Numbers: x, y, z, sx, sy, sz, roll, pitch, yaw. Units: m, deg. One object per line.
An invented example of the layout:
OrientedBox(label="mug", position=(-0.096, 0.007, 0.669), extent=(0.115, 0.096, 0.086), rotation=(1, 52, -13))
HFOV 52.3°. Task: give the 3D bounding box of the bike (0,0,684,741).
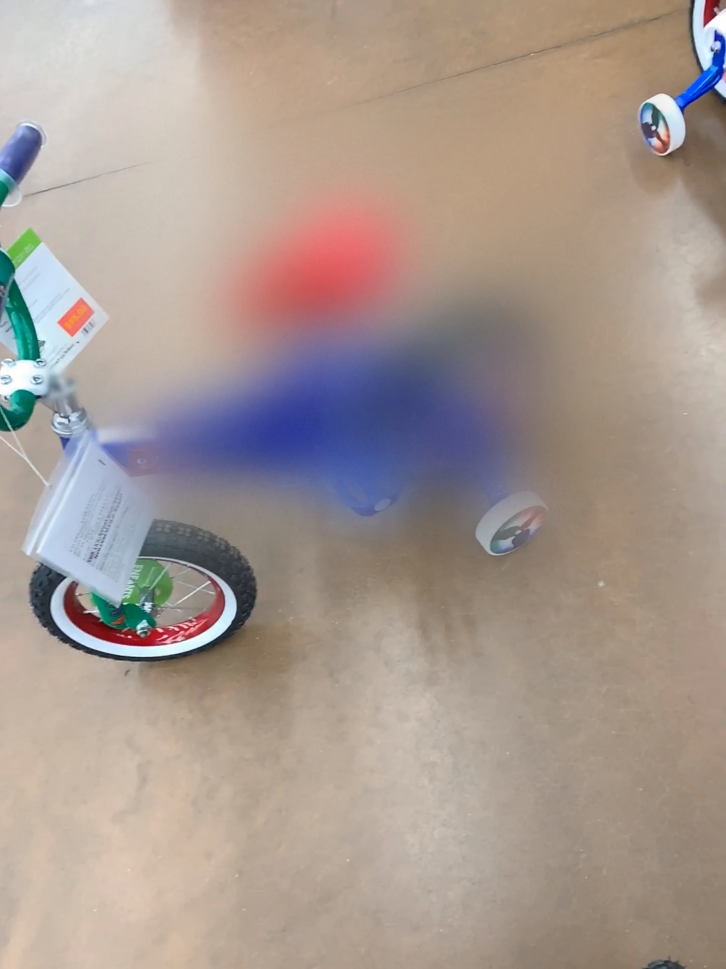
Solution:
OrientedBox(label="bike", position=(-0.149, -0.139, 0.946), extent=(0.793, 0.695, 0.466), rotation=(-29, 56, -2))
